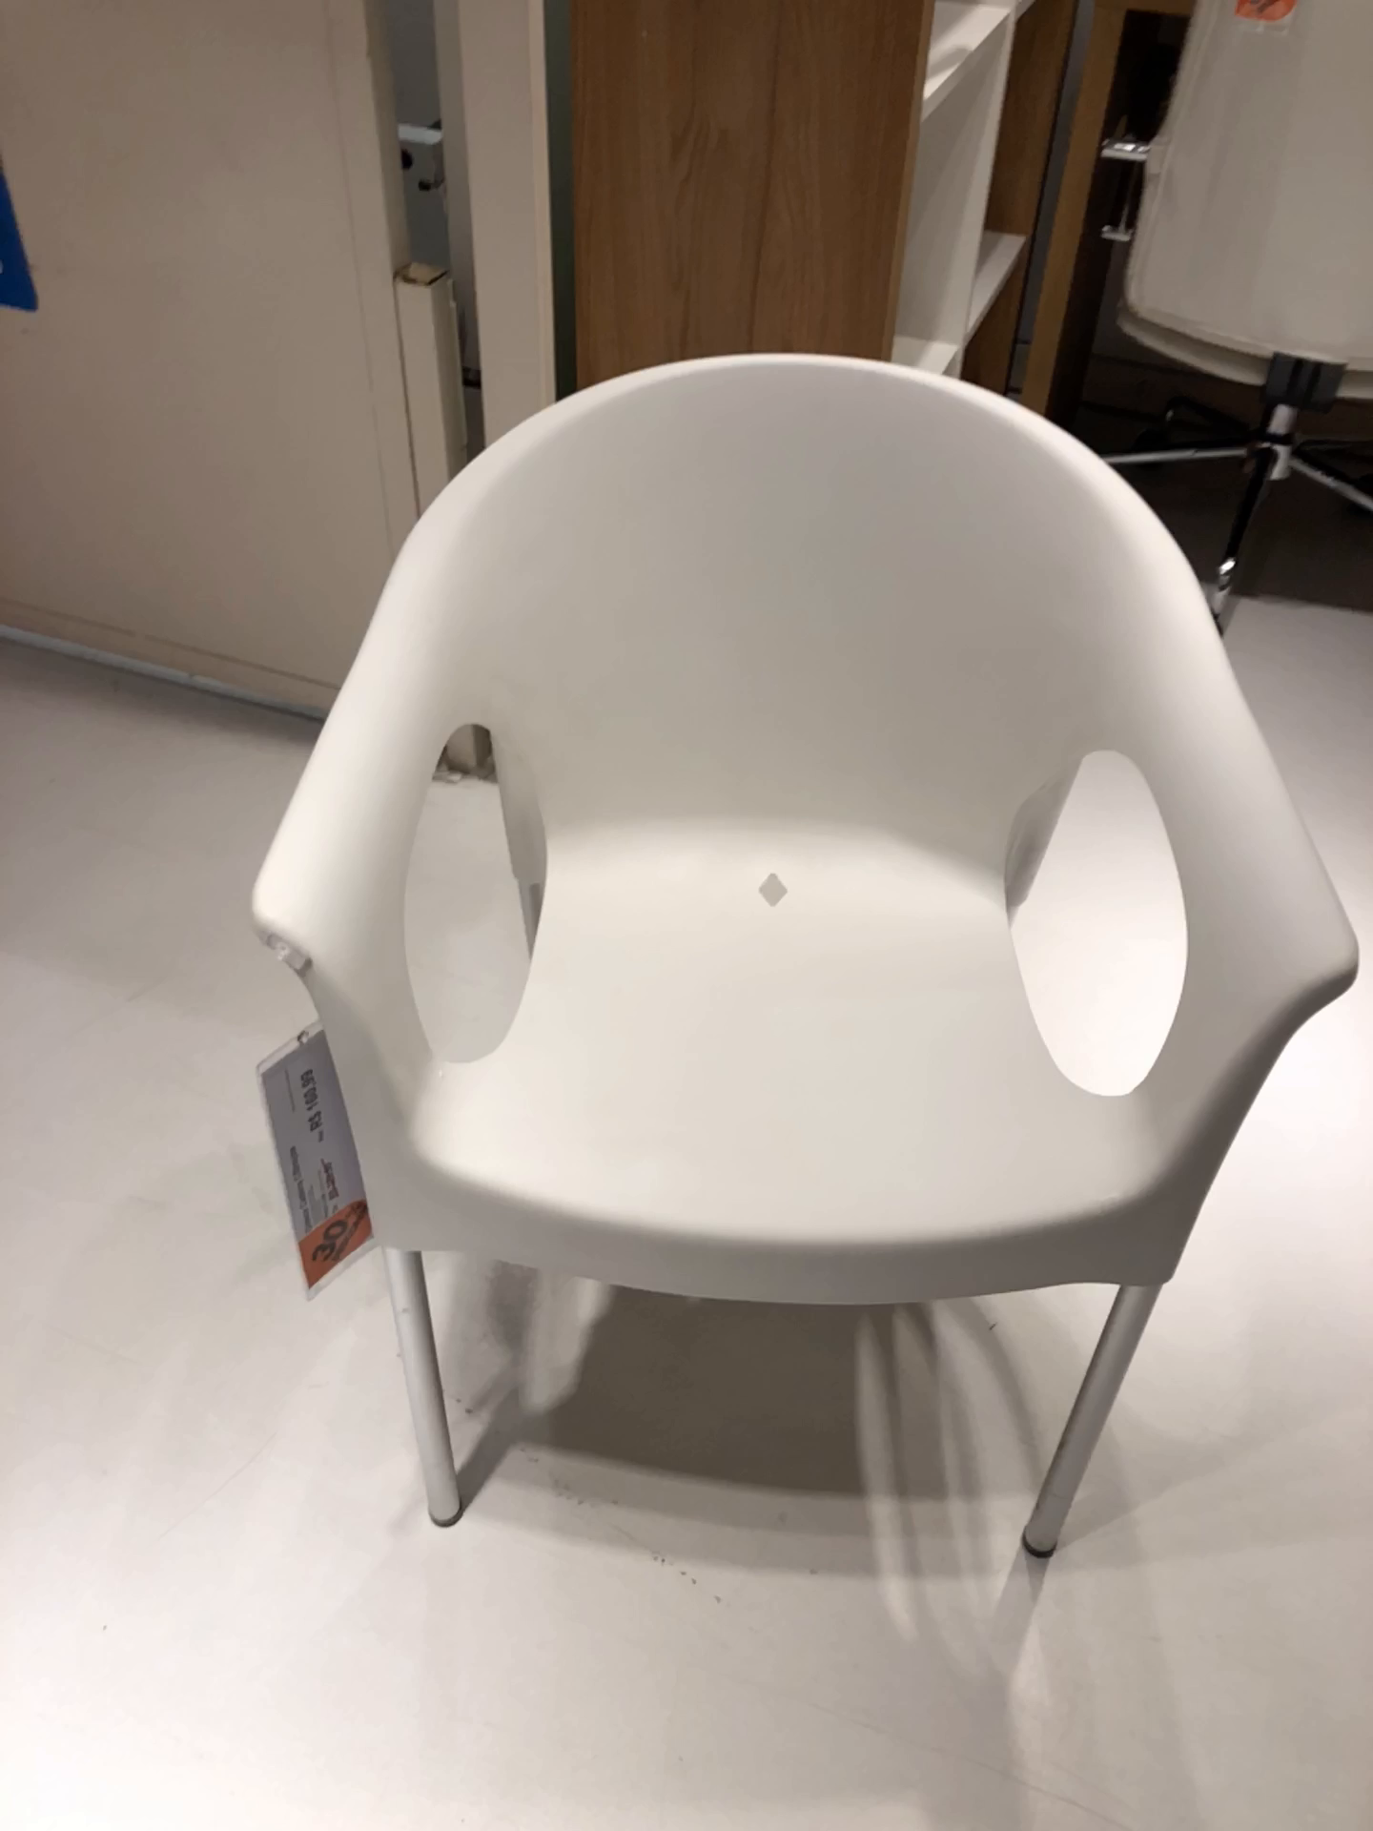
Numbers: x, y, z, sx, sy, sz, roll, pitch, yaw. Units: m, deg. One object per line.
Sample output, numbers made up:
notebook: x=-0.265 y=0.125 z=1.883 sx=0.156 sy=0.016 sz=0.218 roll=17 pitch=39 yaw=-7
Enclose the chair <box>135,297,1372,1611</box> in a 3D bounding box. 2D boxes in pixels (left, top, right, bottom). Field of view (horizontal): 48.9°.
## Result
chair: x=0.067 y=0.035 z=1.144 sx=0.610 sy=0.734 sz=0.615 roll=4 pitch=43 yaw=2
